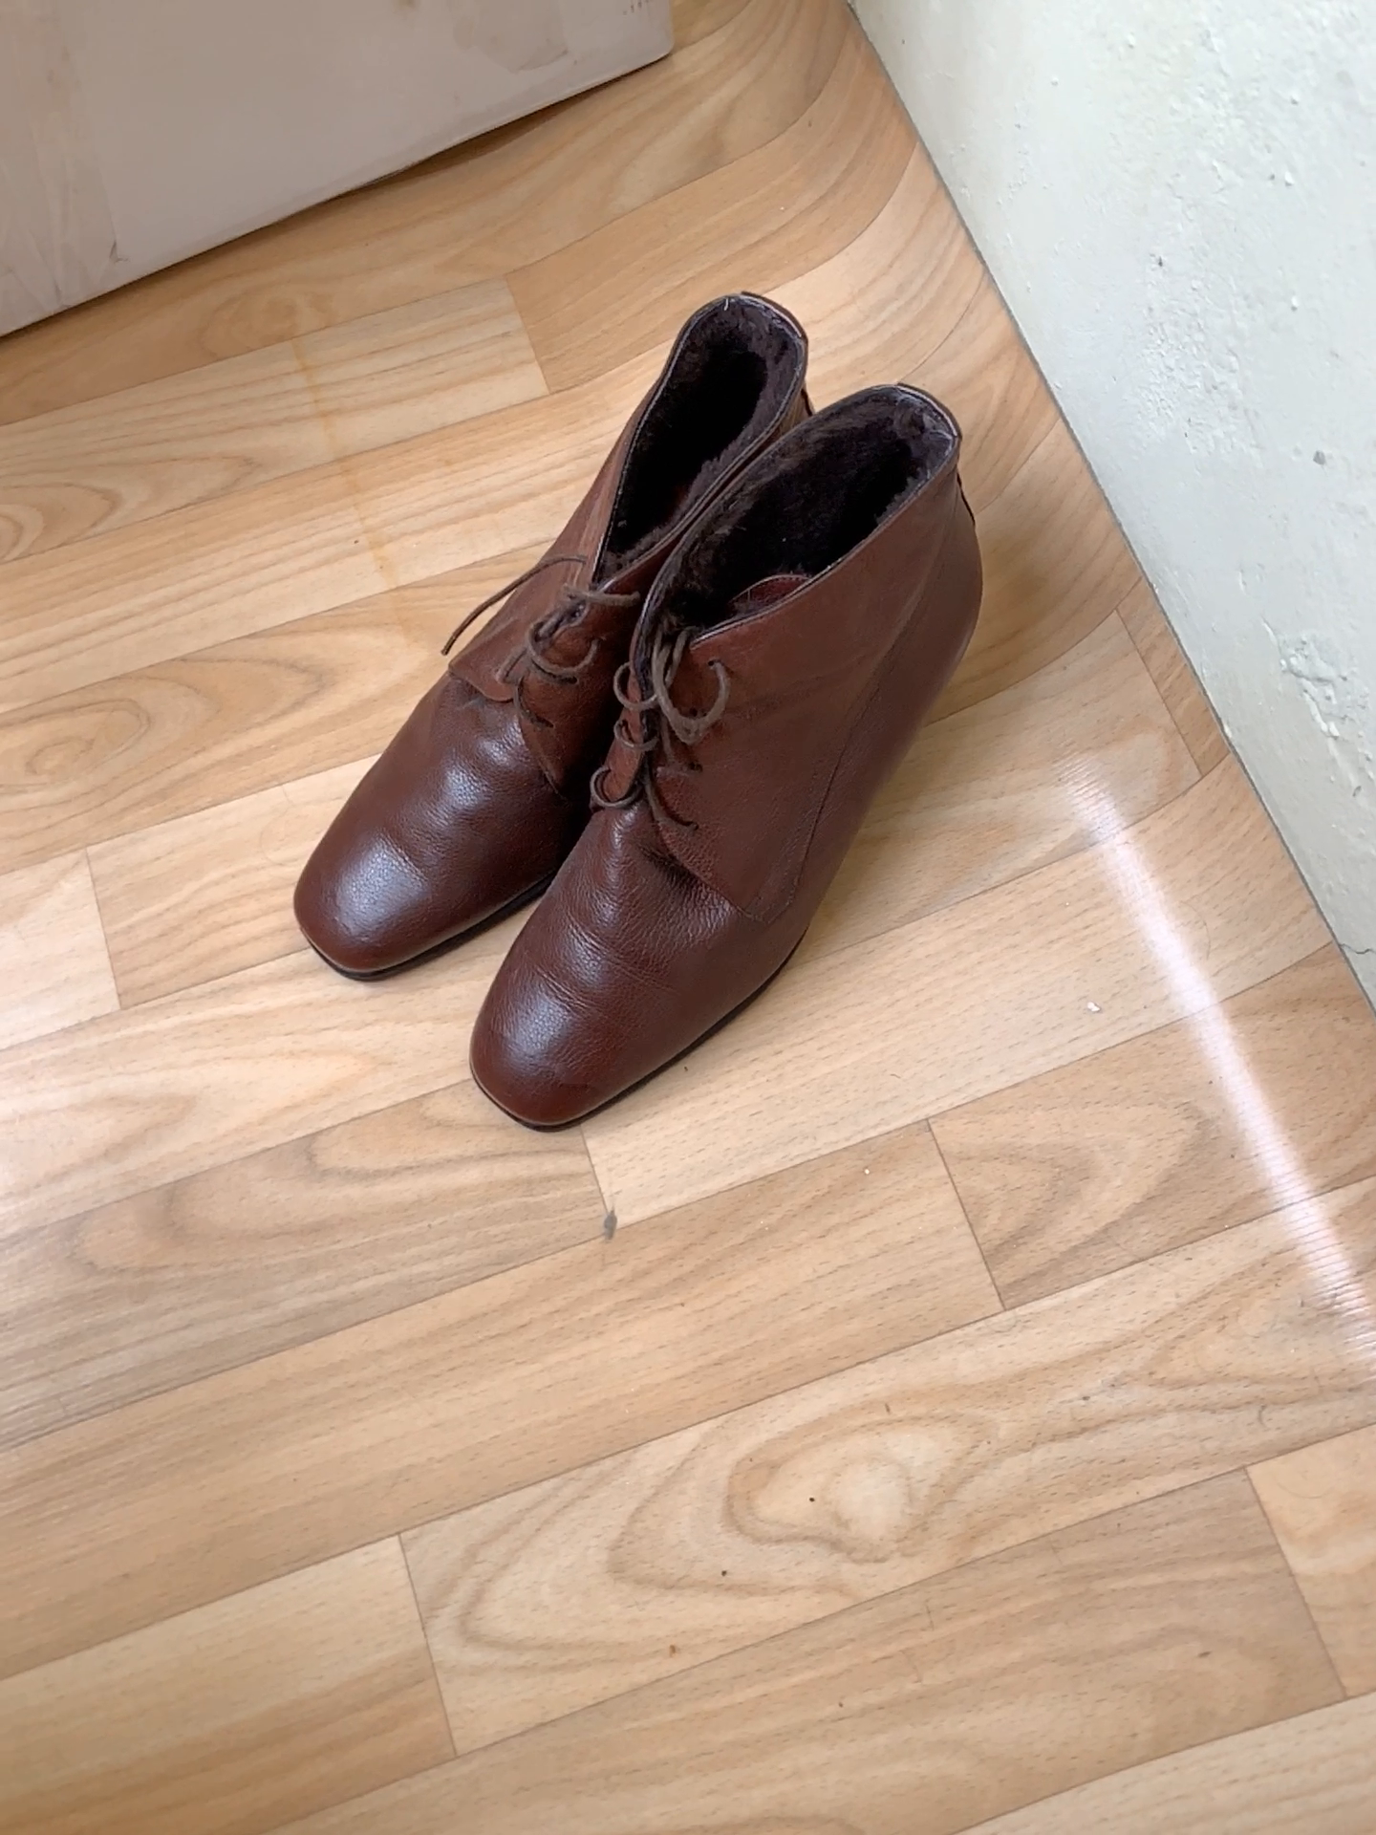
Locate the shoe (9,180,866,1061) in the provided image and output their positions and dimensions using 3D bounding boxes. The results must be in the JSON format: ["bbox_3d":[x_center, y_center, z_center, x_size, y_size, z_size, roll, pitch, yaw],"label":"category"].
[{"bbox_3d":[-0.055,-0.077,0.426,0.220,0.150,0.080,-43,74,-9],"label":"shoe"}]

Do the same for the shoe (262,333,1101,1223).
[{"bbox_3d":[0.007,-0.028,0.416,0.080,0.150,0.220,40,79,15],"label":"shoe"}]
